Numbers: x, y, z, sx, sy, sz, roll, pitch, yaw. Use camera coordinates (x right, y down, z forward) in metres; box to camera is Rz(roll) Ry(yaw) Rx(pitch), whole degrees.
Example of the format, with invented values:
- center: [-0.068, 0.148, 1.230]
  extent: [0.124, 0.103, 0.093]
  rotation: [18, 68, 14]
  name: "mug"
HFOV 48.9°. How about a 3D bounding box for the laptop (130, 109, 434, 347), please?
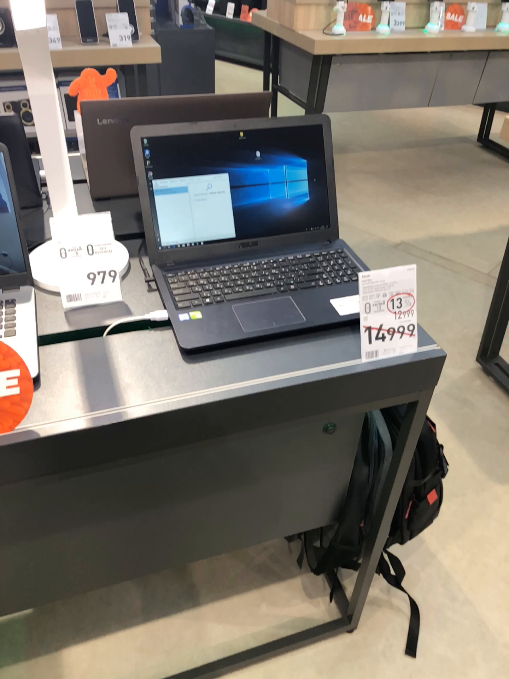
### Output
- center: [0.017, -0.218, 0.964]
  extent: [0.380, 0.209, 0.371]
  rotation: [-10, 41, -16]
  name: "laptop"
